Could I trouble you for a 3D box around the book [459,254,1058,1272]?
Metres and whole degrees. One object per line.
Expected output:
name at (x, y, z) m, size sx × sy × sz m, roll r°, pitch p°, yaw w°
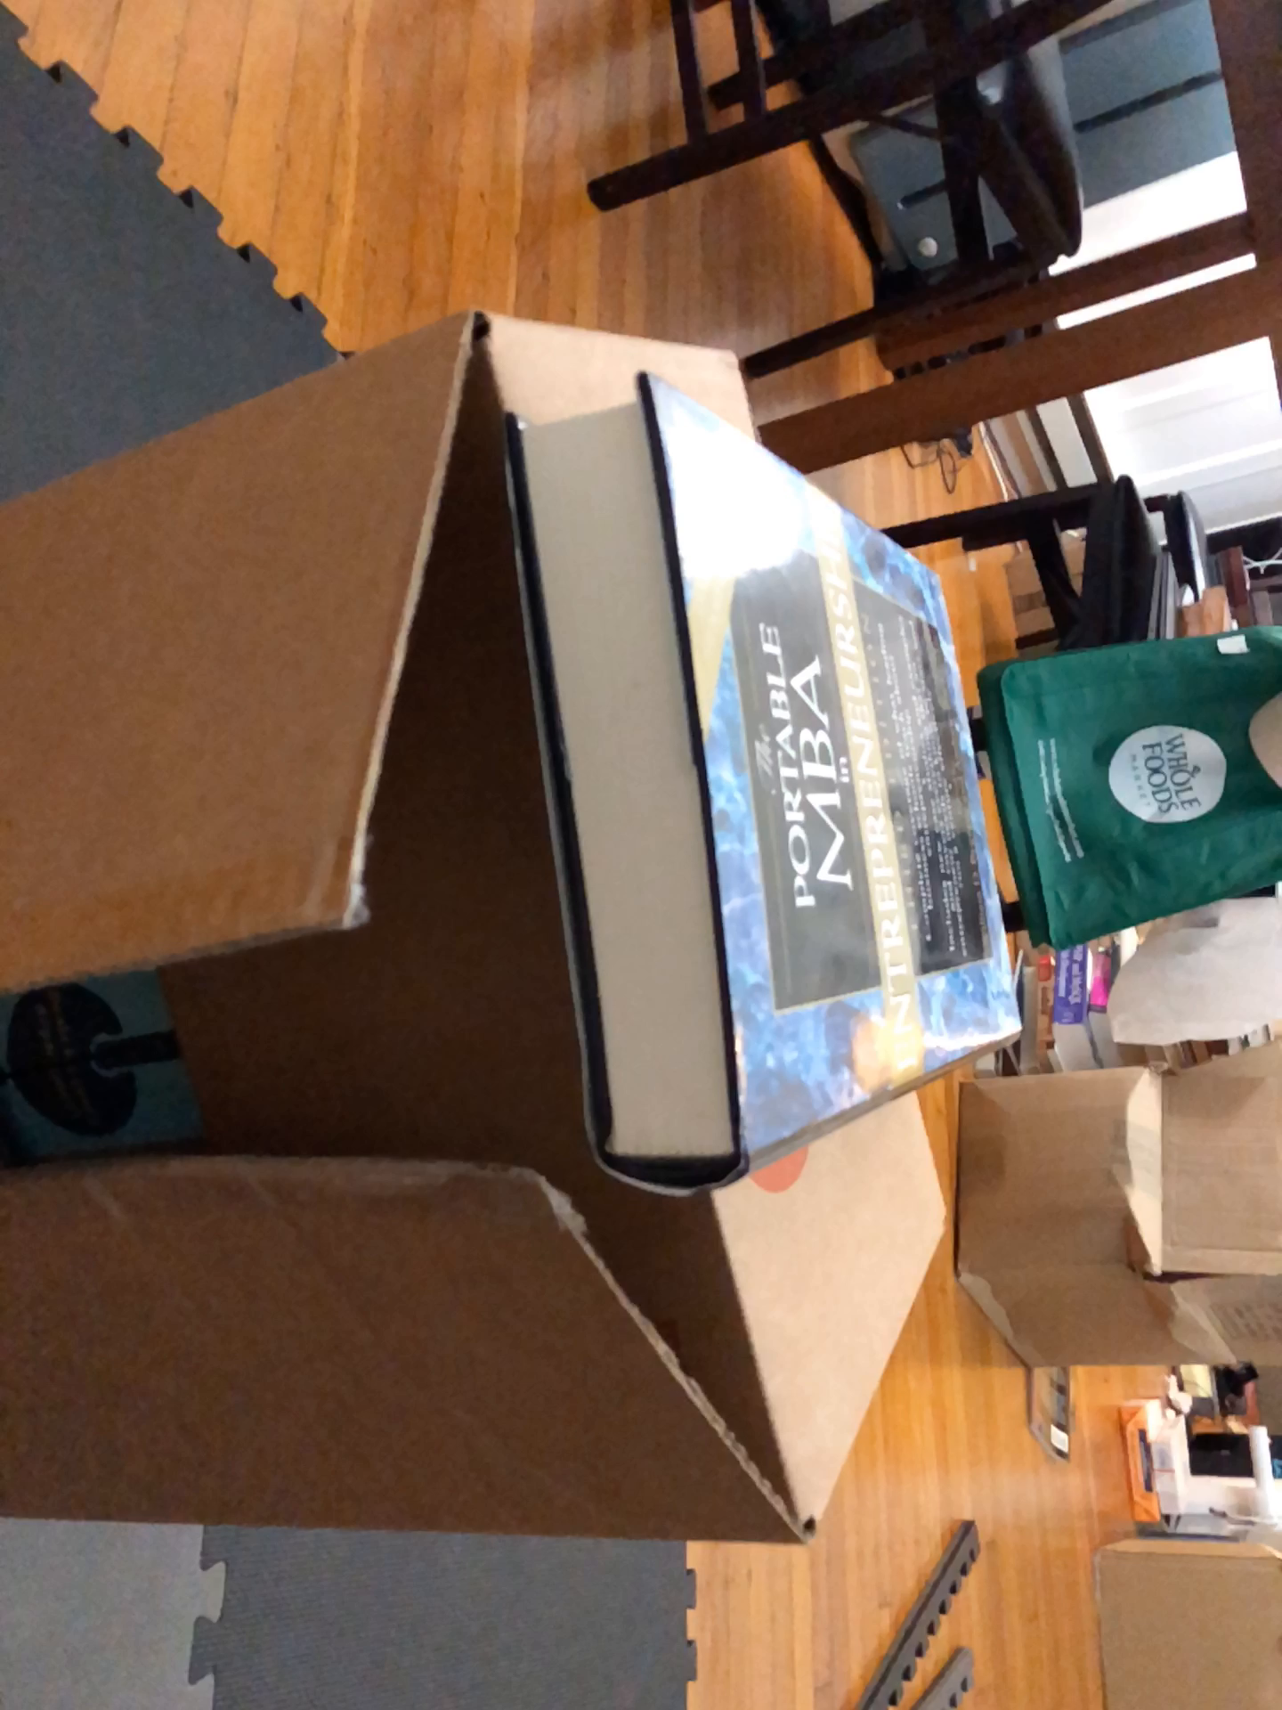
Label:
book at (0.058, -0.018, 0.423) m, size 0.271 × 0.060 × 0.210 m, roll 0°, pitch 81°, yaw -65°
